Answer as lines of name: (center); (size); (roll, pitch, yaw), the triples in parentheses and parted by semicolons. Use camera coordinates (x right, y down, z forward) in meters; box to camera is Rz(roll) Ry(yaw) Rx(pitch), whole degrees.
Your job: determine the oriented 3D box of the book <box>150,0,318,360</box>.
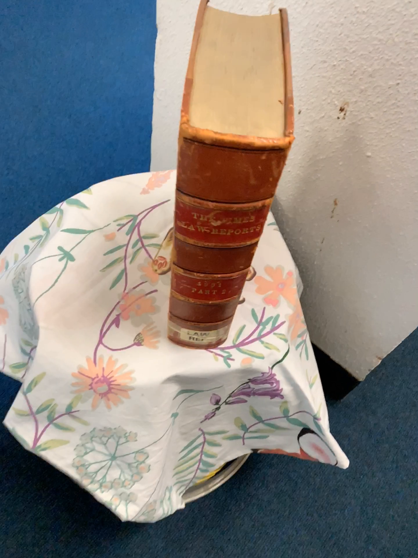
book: (0.003, -0.076, 0.360); (0.070, 0.248, 0.192); (8, 54, -6)
